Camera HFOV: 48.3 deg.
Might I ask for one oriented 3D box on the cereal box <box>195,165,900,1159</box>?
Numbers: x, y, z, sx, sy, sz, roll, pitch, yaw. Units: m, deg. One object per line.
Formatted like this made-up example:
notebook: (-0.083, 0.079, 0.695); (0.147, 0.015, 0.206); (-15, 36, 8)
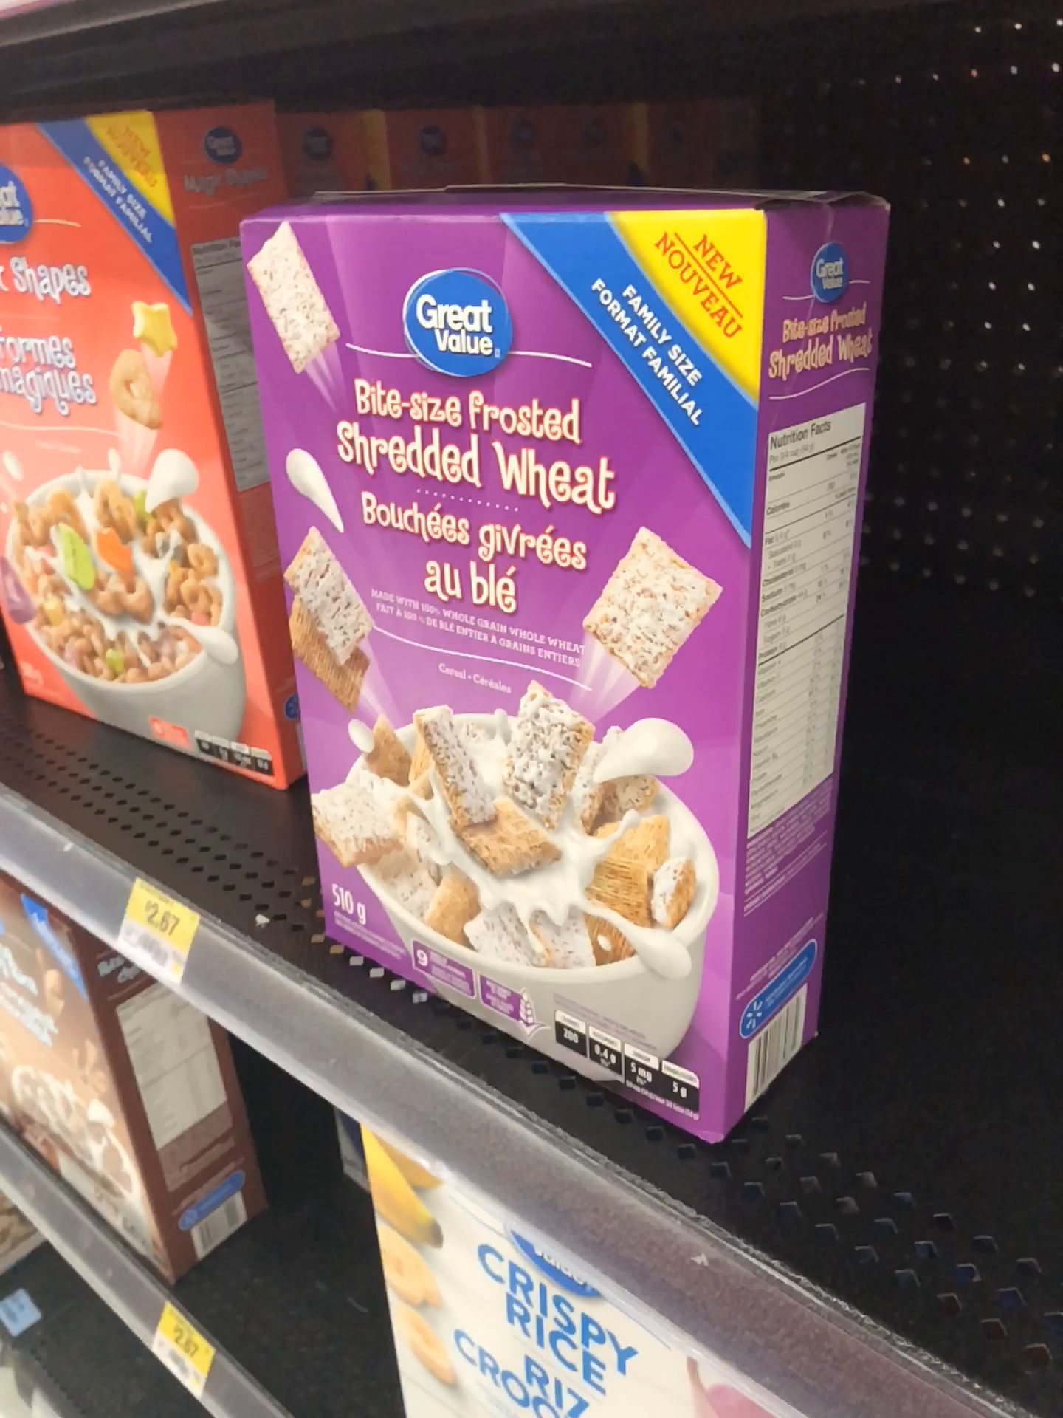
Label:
cereal box: (-0.004, -0.026, 0.400); (0.211, 0.279, 0.070); (18, 30, 38)
